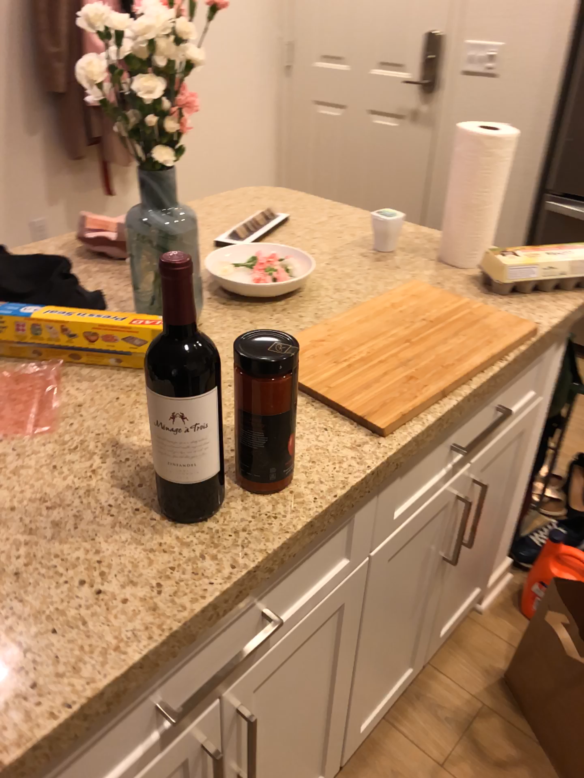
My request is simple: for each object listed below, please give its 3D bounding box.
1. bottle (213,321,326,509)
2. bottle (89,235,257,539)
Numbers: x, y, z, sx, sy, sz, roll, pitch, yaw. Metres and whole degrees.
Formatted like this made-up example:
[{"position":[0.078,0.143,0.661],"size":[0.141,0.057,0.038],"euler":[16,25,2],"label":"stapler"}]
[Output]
[{"position":[-0.025,0.029,0.750],"size":[0.090,0.179,0.090],"euler":[1,32,-1],"label":"bottle"},{"position":[-0.110,0.001,0.665],"size":[0.110,0.278,0.111],"euler":[1,32,-1],"label":"bottle"}]
